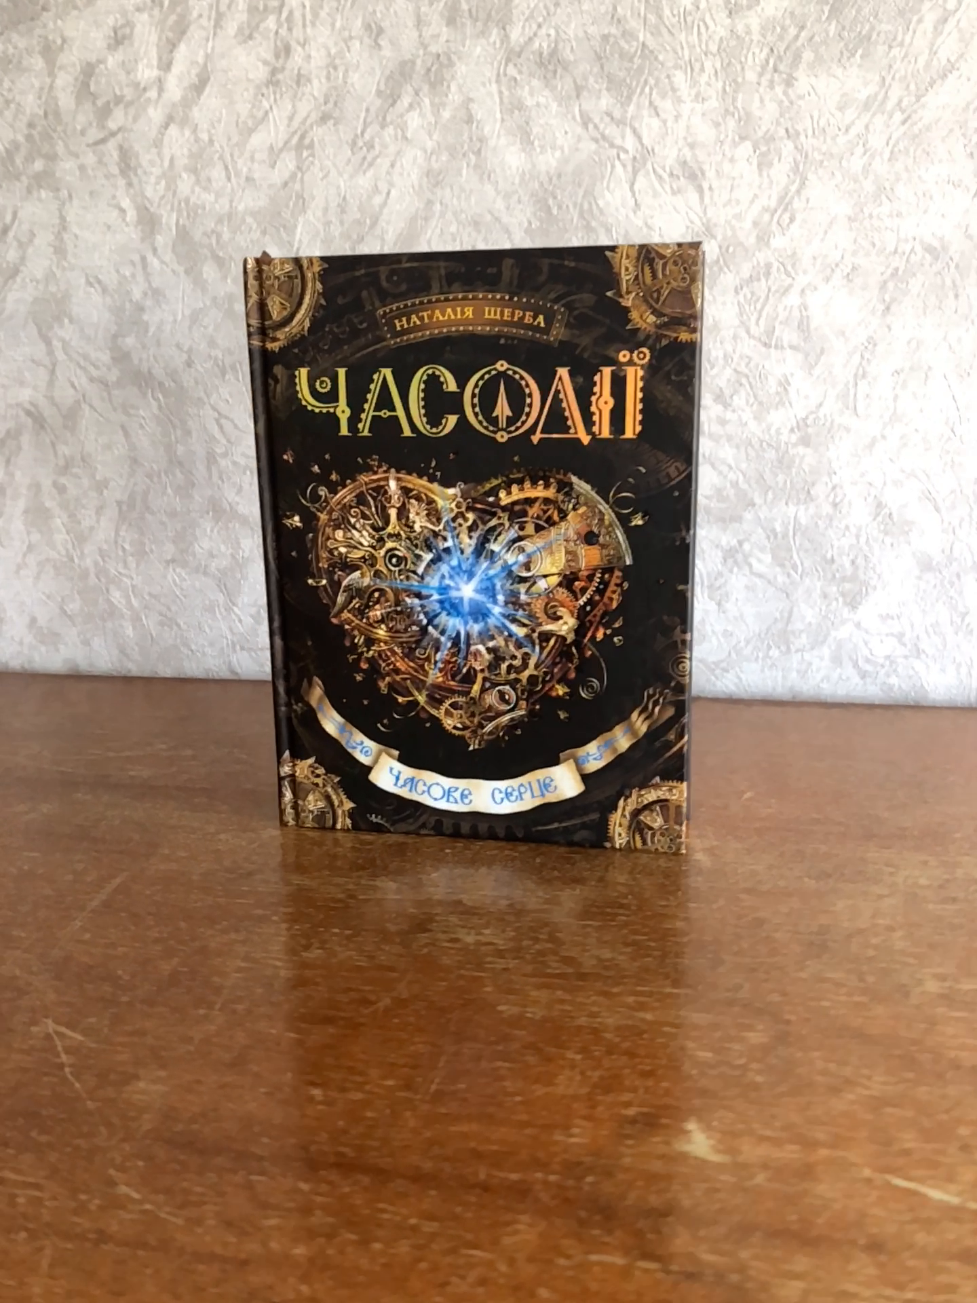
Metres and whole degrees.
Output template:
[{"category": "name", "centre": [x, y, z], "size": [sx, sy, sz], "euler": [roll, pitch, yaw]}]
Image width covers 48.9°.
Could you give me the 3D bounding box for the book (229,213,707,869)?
[{"category": "book", "centre": [-0.004, -0.038, 0.409], "size": [0.166, 0.228, 0.042], "euler": [1, 12, 11]}]
